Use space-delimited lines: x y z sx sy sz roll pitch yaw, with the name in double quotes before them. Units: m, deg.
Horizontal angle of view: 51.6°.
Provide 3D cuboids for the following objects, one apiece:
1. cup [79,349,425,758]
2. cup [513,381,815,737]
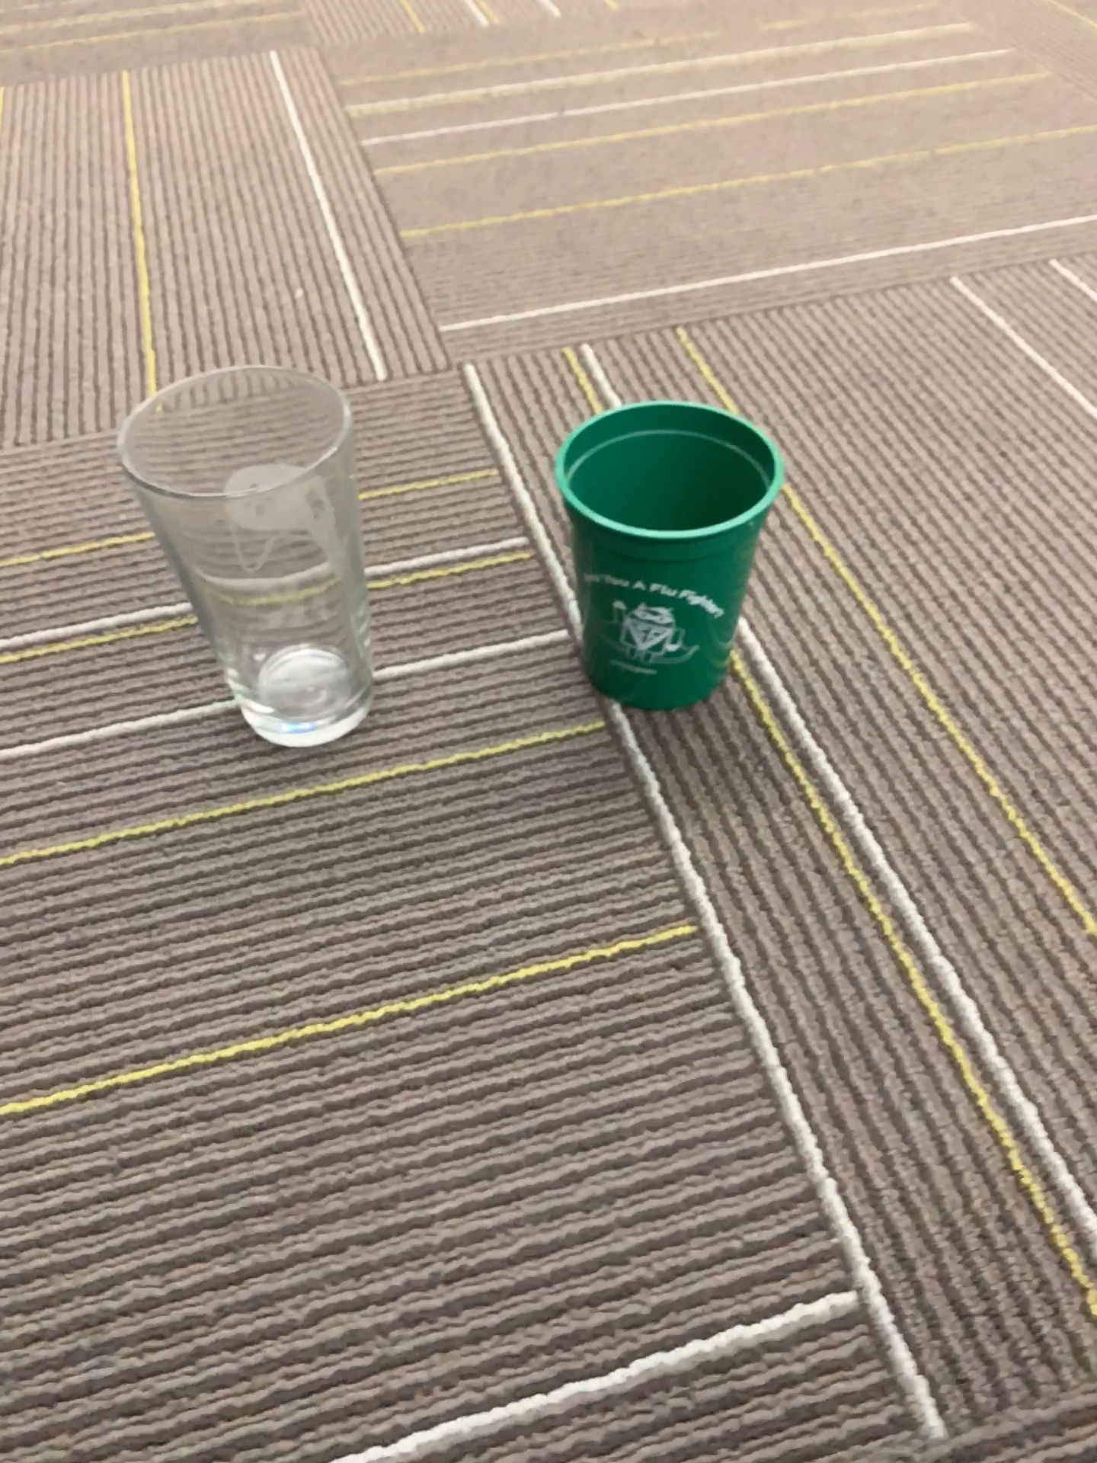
"cup" -0.111 -0.071 0.472 0.090 0.139 0.090 -1 48 2
"cup" 0.052 -0.078 0.508 0.100 0.099 0.100 -1 48 2
